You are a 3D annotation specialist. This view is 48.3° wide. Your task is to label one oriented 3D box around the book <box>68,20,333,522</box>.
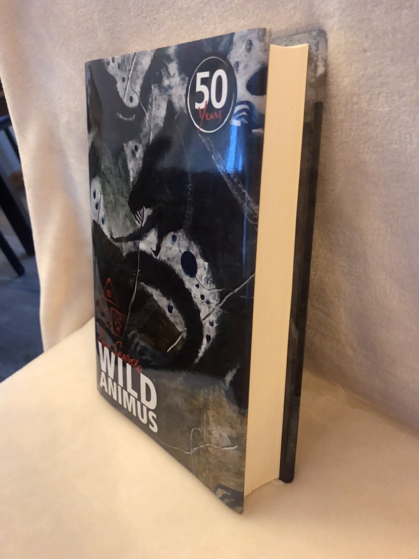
[{"bbox_3d":[-0.022,-0.011,0.268,0.043,0.216,0.163,-10,20,-39],"label":"book"}]
